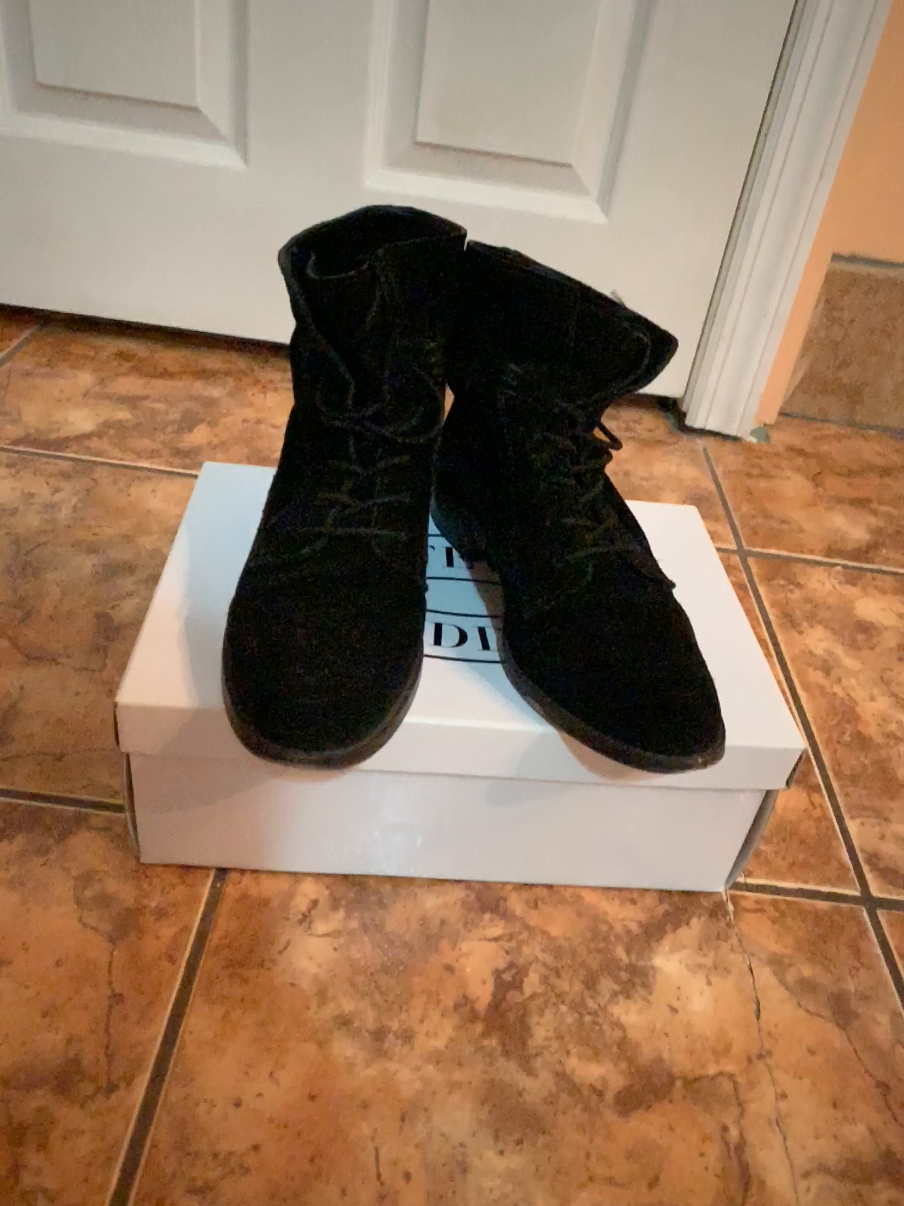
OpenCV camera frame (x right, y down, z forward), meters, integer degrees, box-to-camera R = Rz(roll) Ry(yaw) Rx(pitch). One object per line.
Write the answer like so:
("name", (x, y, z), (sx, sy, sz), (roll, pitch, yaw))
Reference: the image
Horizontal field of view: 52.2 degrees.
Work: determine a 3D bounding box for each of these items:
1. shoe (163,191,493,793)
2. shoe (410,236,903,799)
("shoe", (-0.040, -0.069, 0.411), (0.094, 0.152, 0.259), (8, 35, -3))
("shoe", (0.069, -0.061, 0.442), (0.107, 0.142, 0.268), (-2, 36, -17))
